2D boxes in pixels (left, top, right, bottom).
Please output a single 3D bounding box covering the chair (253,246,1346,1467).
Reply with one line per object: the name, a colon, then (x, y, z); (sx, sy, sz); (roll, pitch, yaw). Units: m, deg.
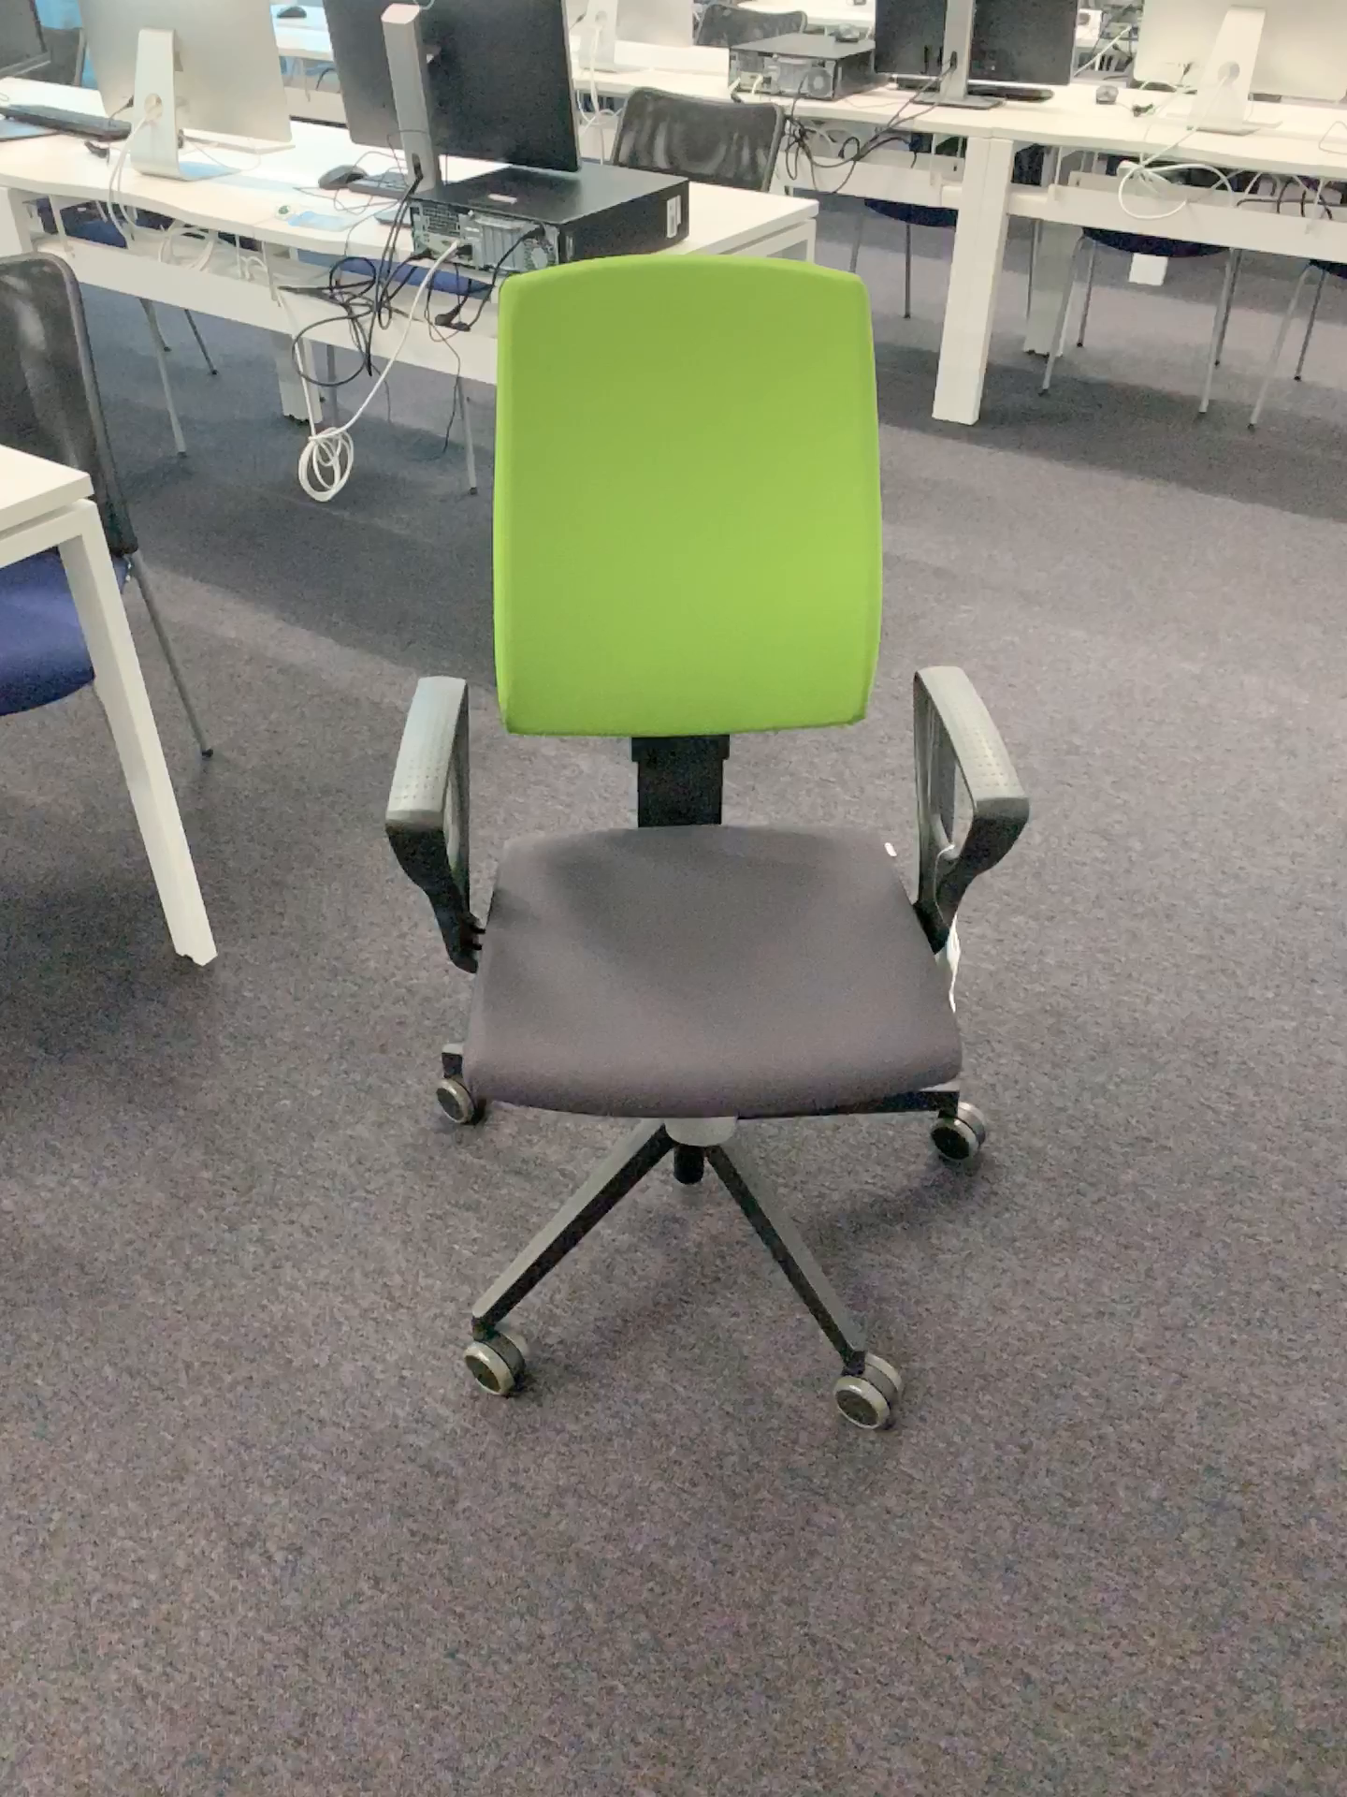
chair: (0.070, -0.026, 1.443); (0.720, 1.054, 0.674); (-3, 39, -5)
